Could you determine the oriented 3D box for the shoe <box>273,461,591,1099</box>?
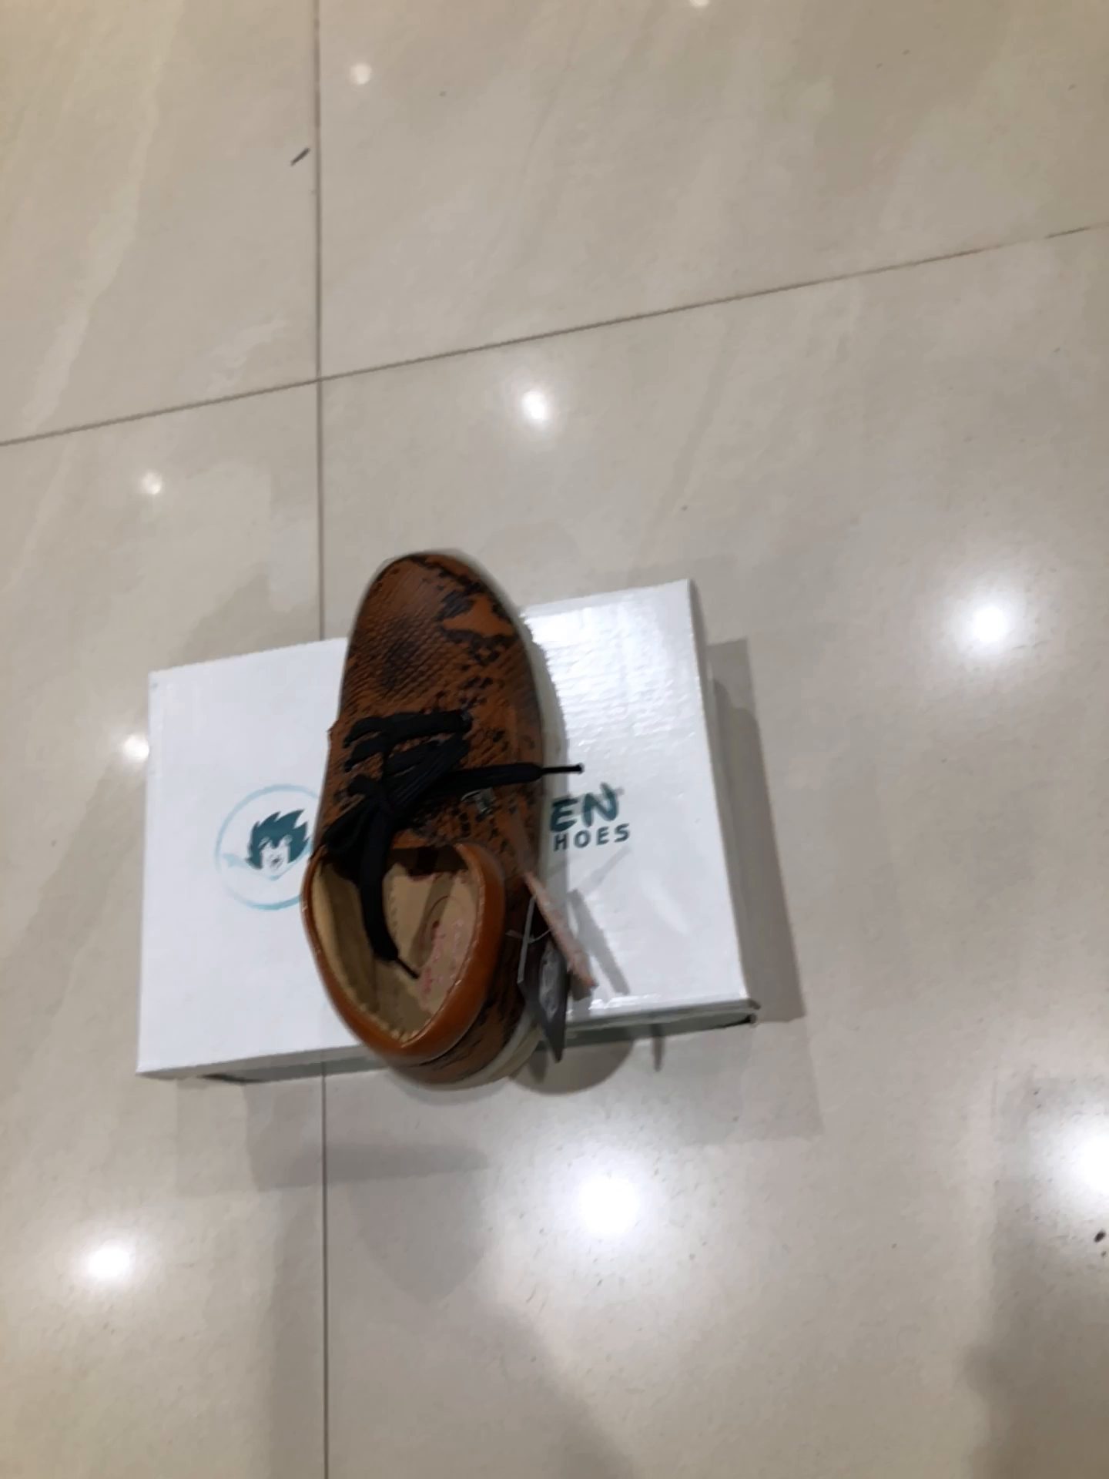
[{"bbox_3d":[-0.043,0.018,0.437,0.080,0.090,0.201,-8,69,10],"label":"shoe"}]
